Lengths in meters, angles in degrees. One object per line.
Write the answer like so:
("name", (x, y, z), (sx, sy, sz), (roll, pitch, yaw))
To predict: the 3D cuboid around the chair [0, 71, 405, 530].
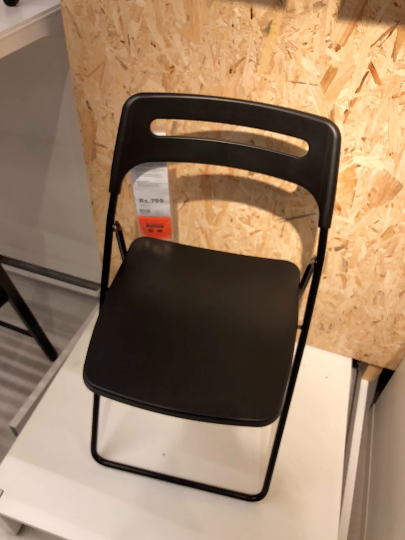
("chair", (0.030, 0.085, 0.949), (0.490, 0.735, 0.523), (11, 45, 8))
